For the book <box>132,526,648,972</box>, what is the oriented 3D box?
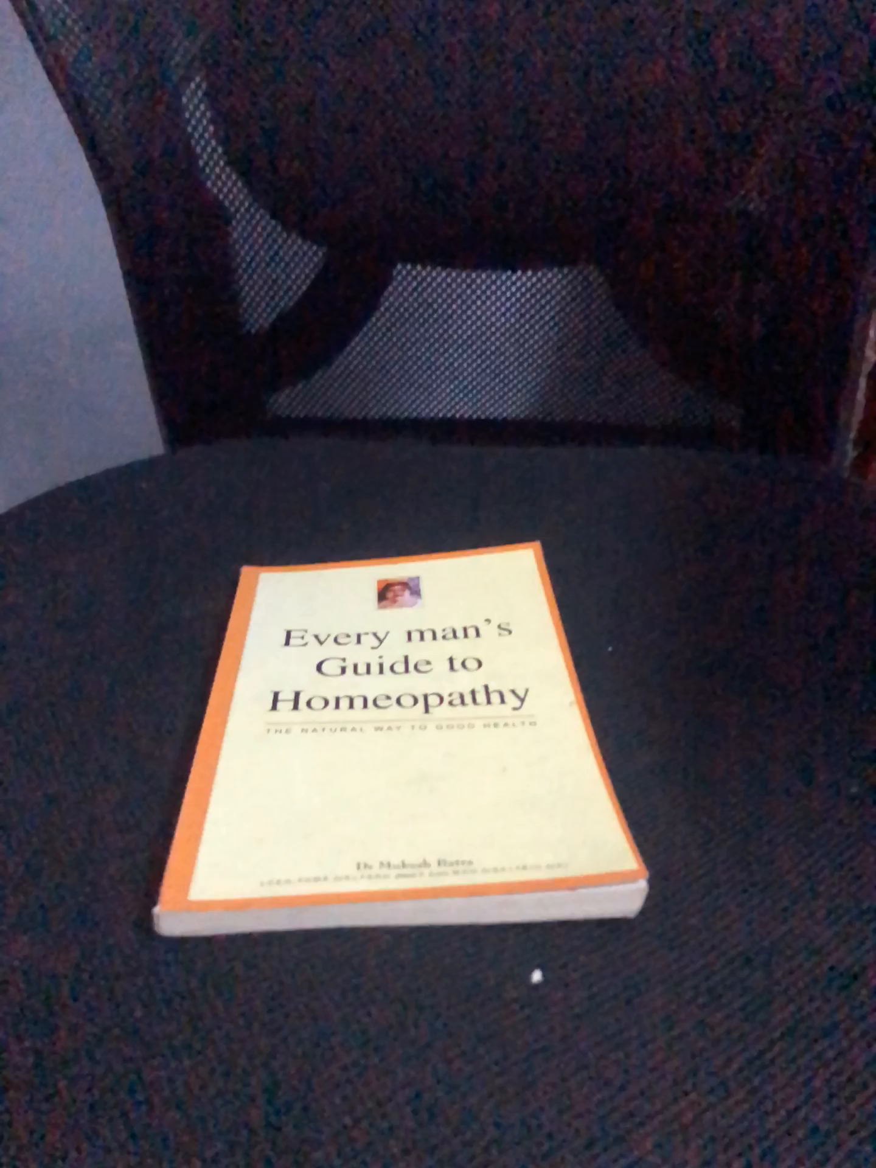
[{"bbox_3d":[-0.017,0.042,0.358,0.140,0.026,0.208,-4,30,-1],"label":"book"}]
